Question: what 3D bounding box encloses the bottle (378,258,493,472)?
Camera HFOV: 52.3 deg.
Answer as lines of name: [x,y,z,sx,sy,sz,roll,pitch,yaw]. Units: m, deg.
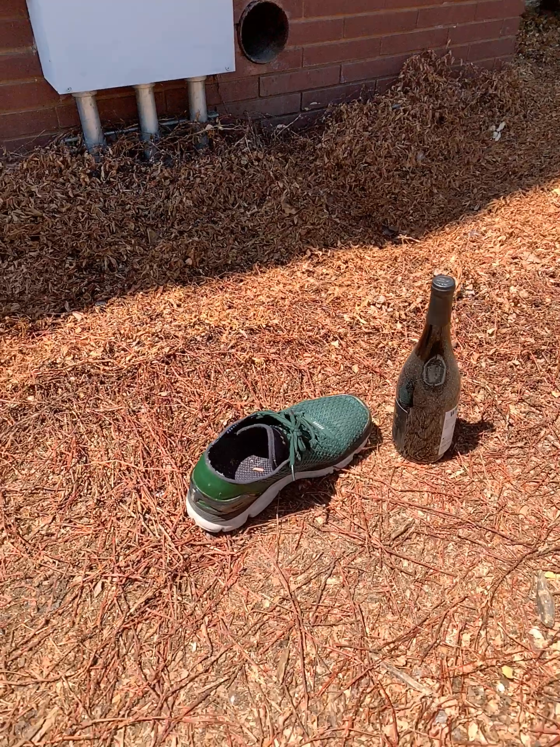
bottle: [0.201,-0.004,0.761,0.090,0.268,0.100,12,42,13]
